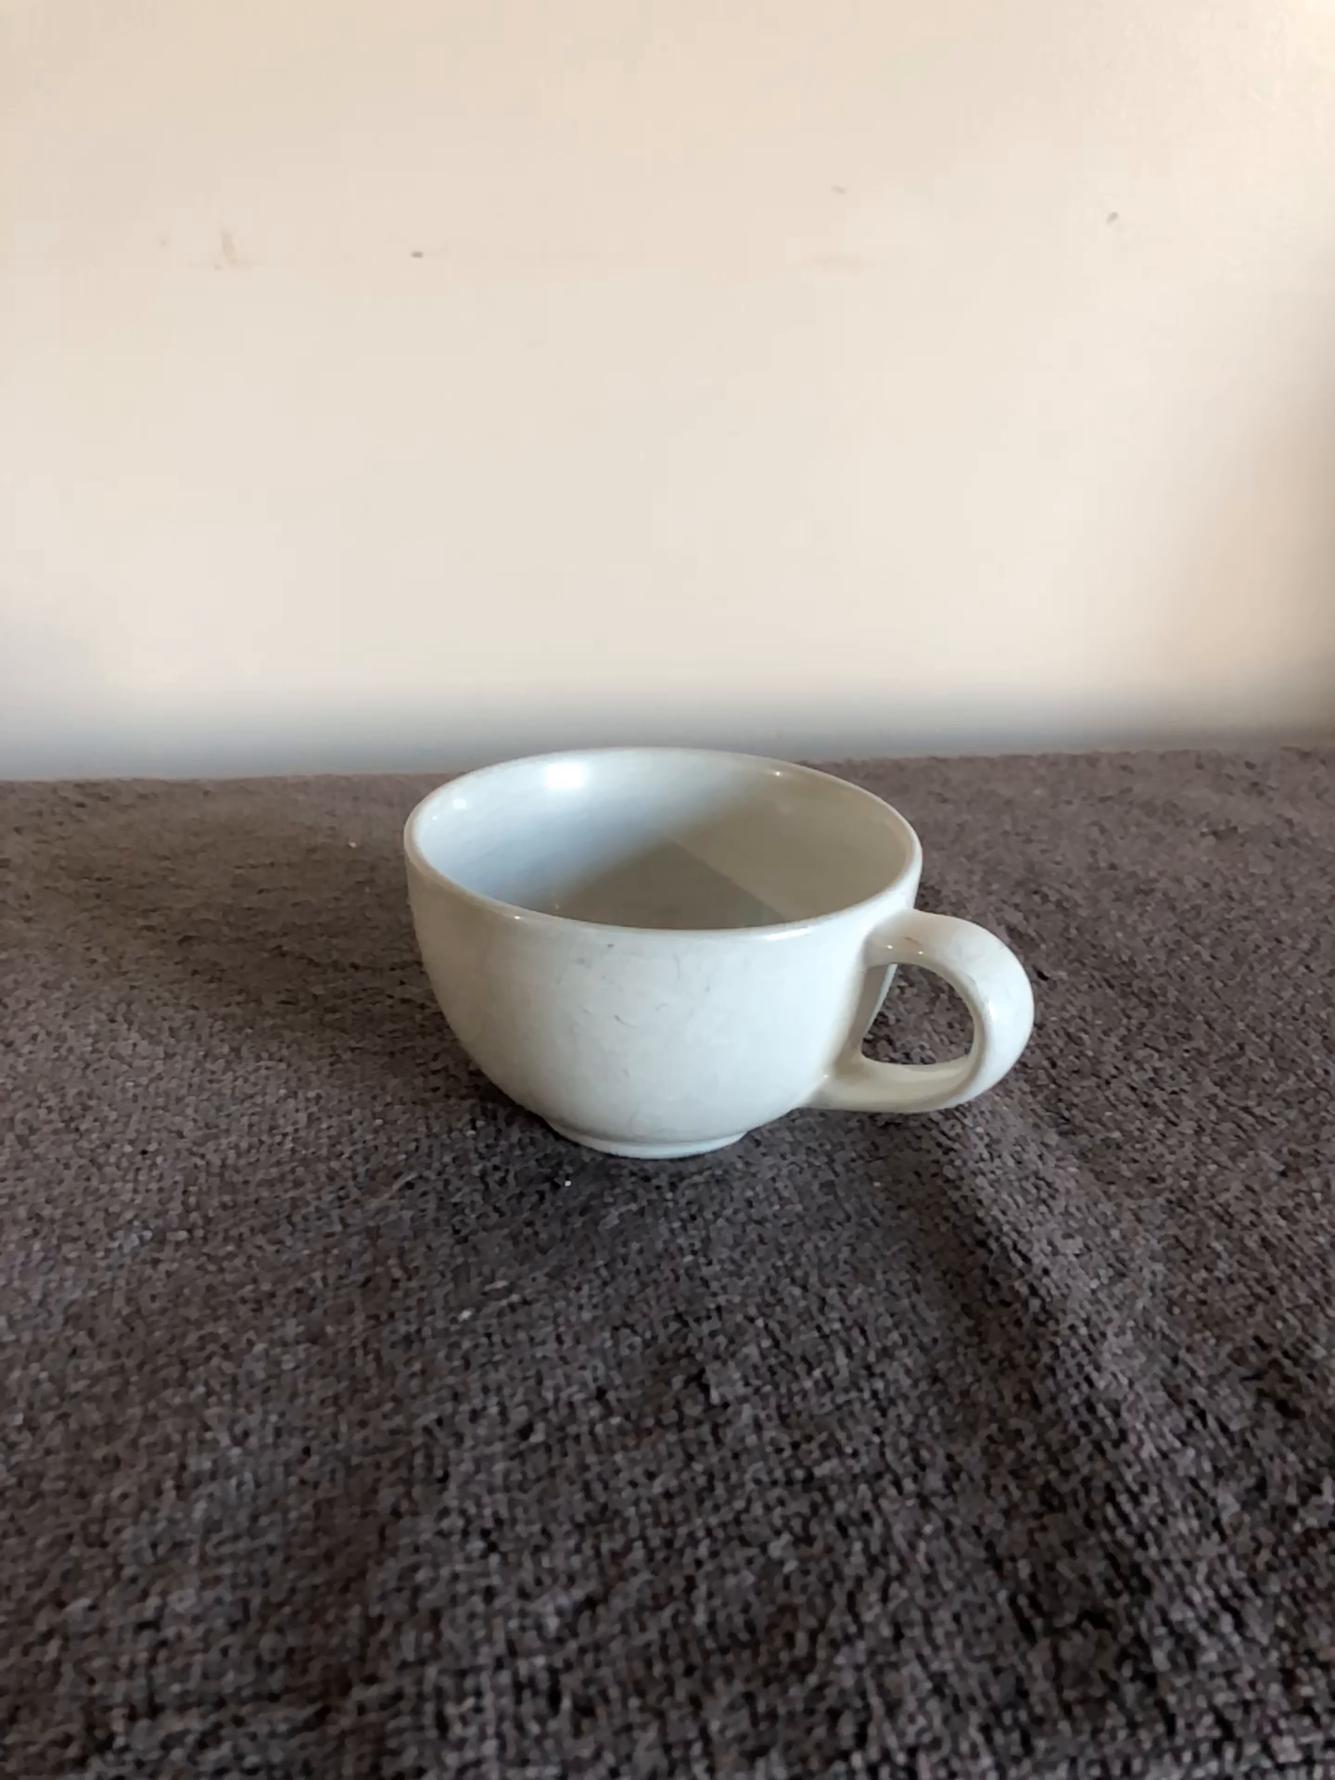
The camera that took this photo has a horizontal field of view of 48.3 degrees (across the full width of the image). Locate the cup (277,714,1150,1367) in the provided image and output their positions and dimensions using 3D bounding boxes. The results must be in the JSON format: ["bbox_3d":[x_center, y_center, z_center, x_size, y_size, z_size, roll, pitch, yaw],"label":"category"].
[{"bbox_3d":[0.008,0.015,0.265,0.120,0.050,0.090,18,29,32],"label":"cup"}]
